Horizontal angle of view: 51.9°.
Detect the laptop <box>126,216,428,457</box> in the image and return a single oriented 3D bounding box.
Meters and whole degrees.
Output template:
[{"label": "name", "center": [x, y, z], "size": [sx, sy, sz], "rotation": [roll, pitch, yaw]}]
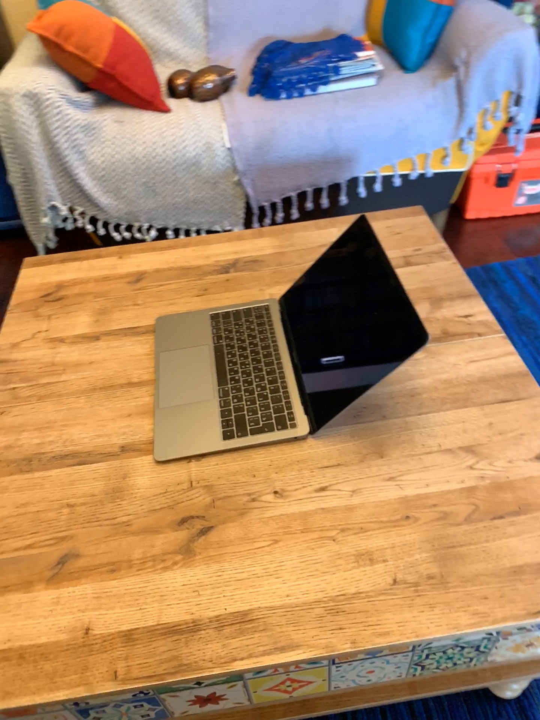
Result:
[{"label": "laptop", "center": [-0.006, -0.046, 0.795], "size": [0.353, 0.141, 0.292], "rotation": [-9, 44, -2]}]
